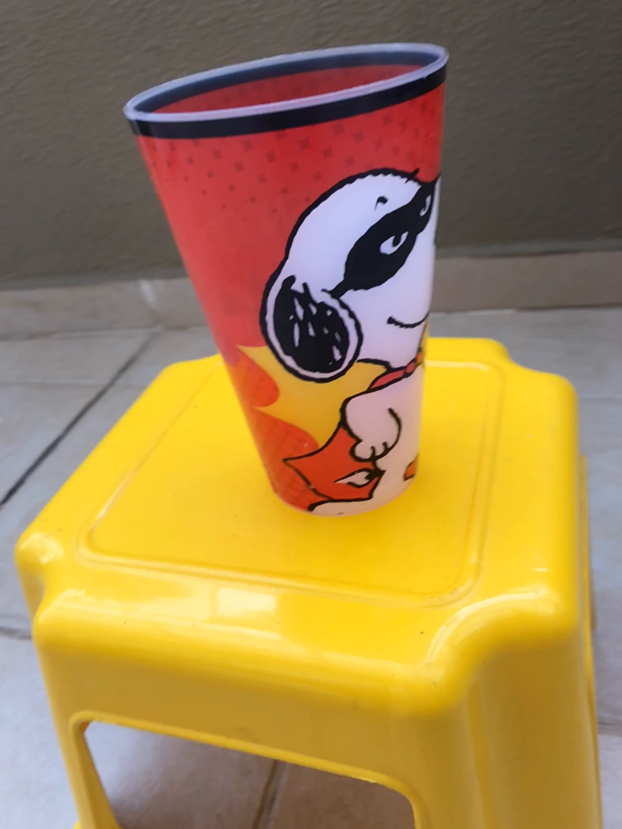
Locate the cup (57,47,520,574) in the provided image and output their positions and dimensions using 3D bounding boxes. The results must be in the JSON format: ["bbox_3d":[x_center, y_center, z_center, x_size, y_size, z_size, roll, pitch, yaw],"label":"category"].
[{"bbox_3d":[-0.001,-0.046,0.255,0.100,0.139,0.110,-31,38,-28],"label":"cup"}]
